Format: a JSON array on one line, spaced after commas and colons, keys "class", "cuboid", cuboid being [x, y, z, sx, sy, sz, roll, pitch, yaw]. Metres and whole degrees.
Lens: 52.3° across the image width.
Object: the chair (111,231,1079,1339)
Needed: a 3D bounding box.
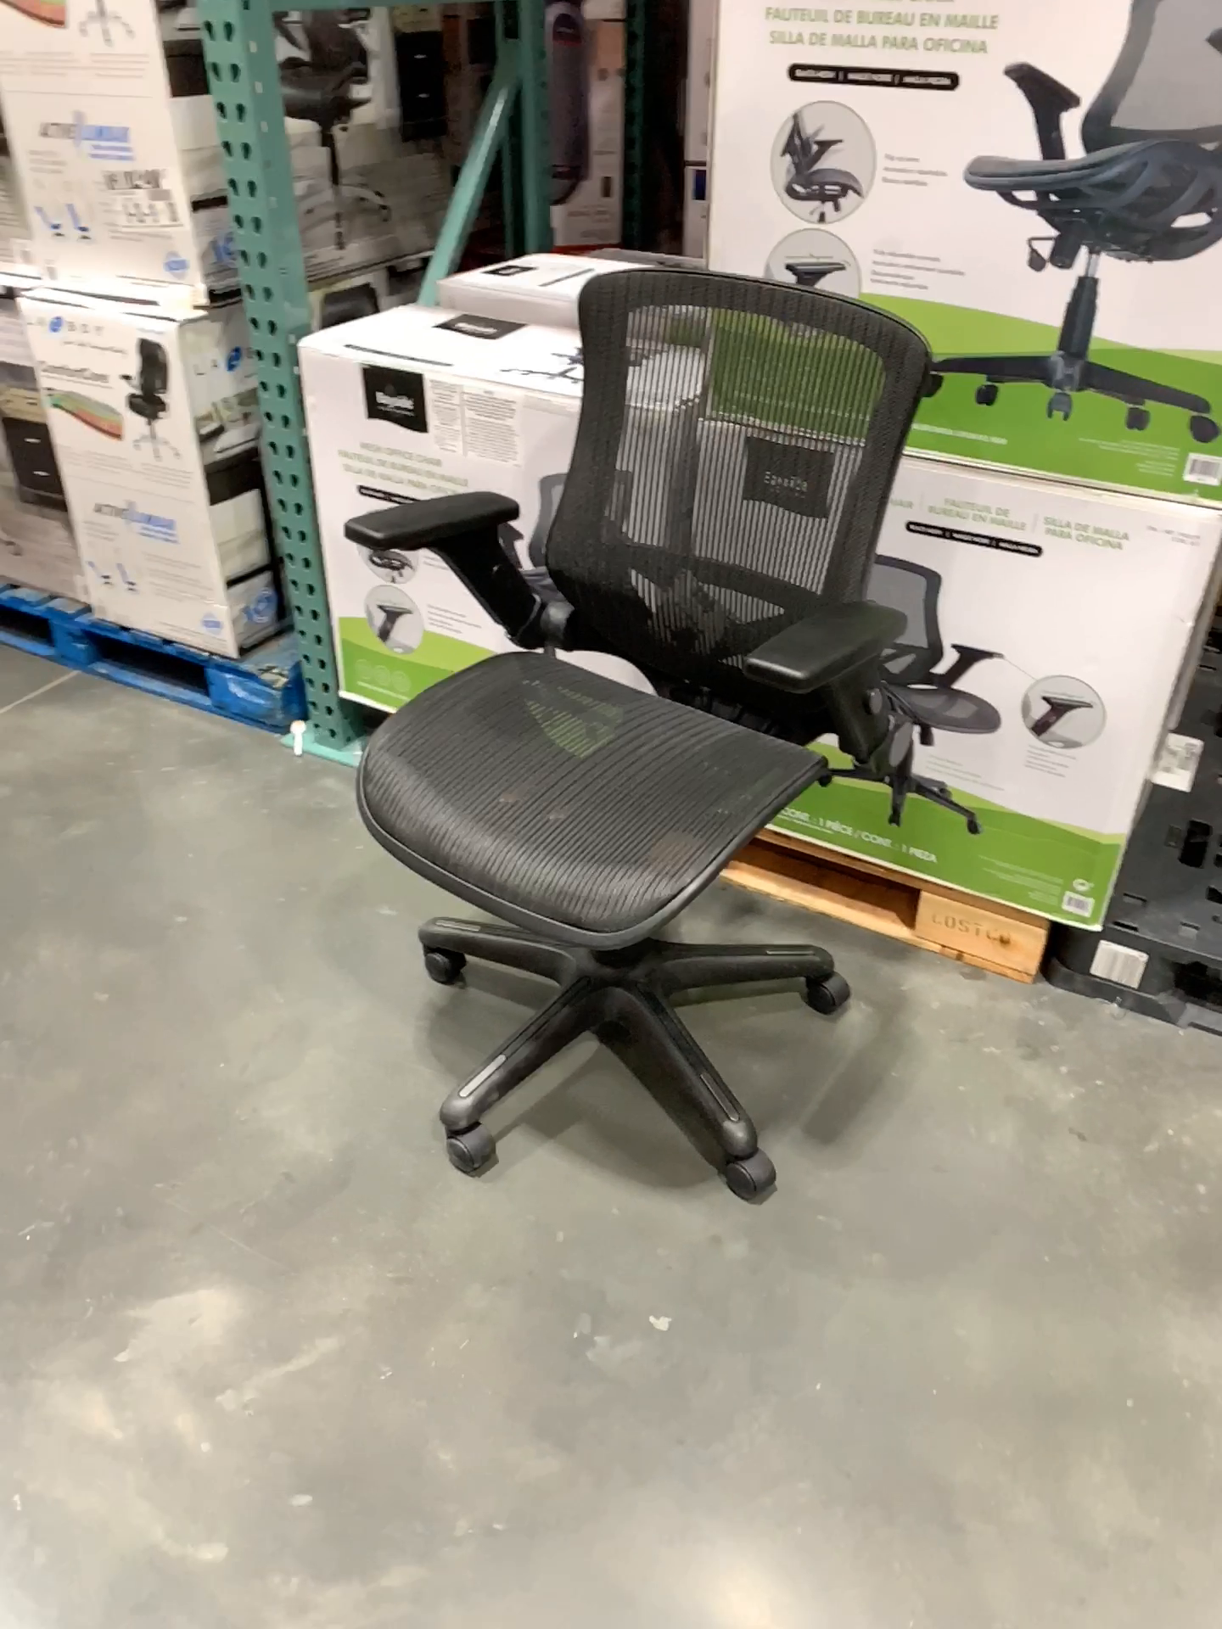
[{"class": "chair", "cuboid": [0.008, -0.096, 1.544, 0.677, 0.987, 0.737, 24, 41, 30]}]
